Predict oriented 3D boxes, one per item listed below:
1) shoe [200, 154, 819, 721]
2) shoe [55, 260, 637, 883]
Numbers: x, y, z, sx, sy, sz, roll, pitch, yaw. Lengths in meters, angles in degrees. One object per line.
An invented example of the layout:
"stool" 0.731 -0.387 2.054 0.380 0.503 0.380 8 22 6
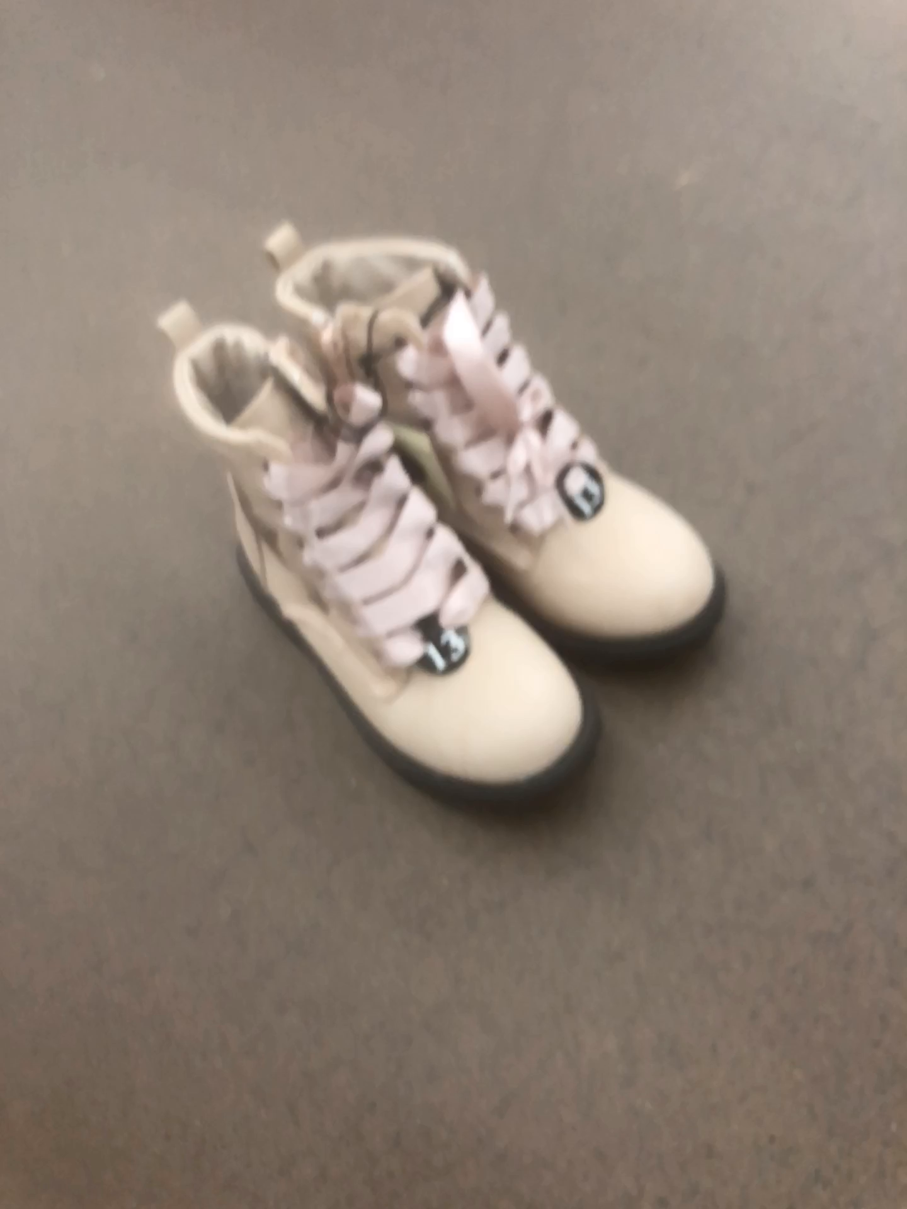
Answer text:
"shoe" 0.022 -0.072 0.446 0.220 0.150 0.090 30 67 24
"shoe" -0.039 -0.014 0.430 0.090 0.150 0.220 -41 61 -17
